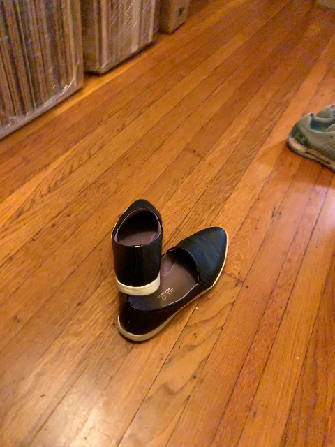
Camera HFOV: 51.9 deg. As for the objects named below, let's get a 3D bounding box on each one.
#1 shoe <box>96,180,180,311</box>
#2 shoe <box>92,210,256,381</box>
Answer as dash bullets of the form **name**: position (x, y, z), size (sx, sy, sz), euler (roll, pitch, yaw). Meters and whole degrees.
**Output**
- **shoe**: position (-0.052, 0.019, 0.543), size (0.100, 0.080, 0.251), euler (3, 29, -8)
- **shoe**: position (0.017, 0.098, 0.538), size (0.100, 0.080, 0.260), euler (37, 54, 20)
